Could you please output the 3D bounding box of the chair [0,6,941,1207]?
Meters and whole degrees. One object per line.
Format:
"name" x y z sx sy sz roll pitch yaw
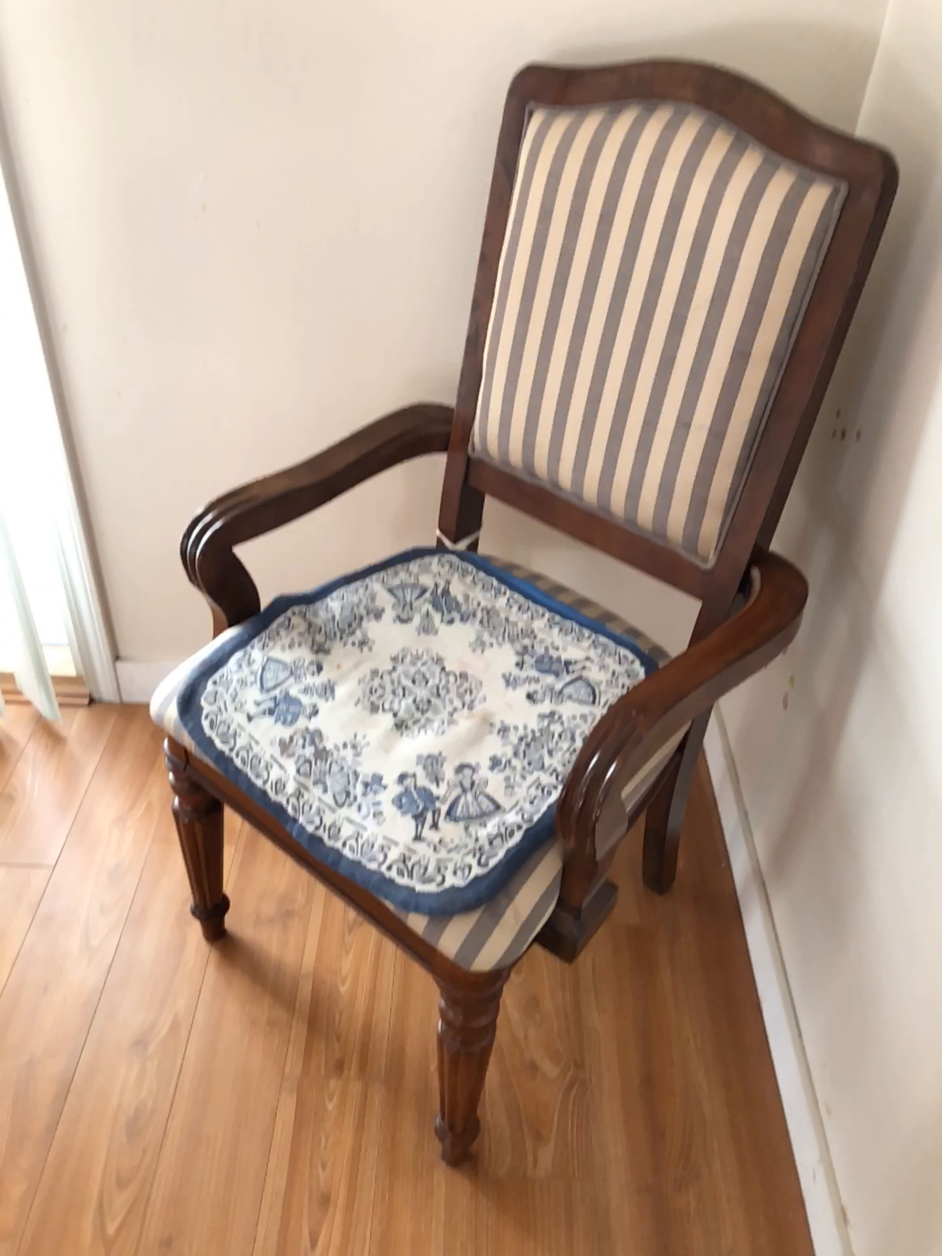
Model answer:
"chair" -0.017 -0.013 1.121 0.531 1.043 0.582 28 45 28
